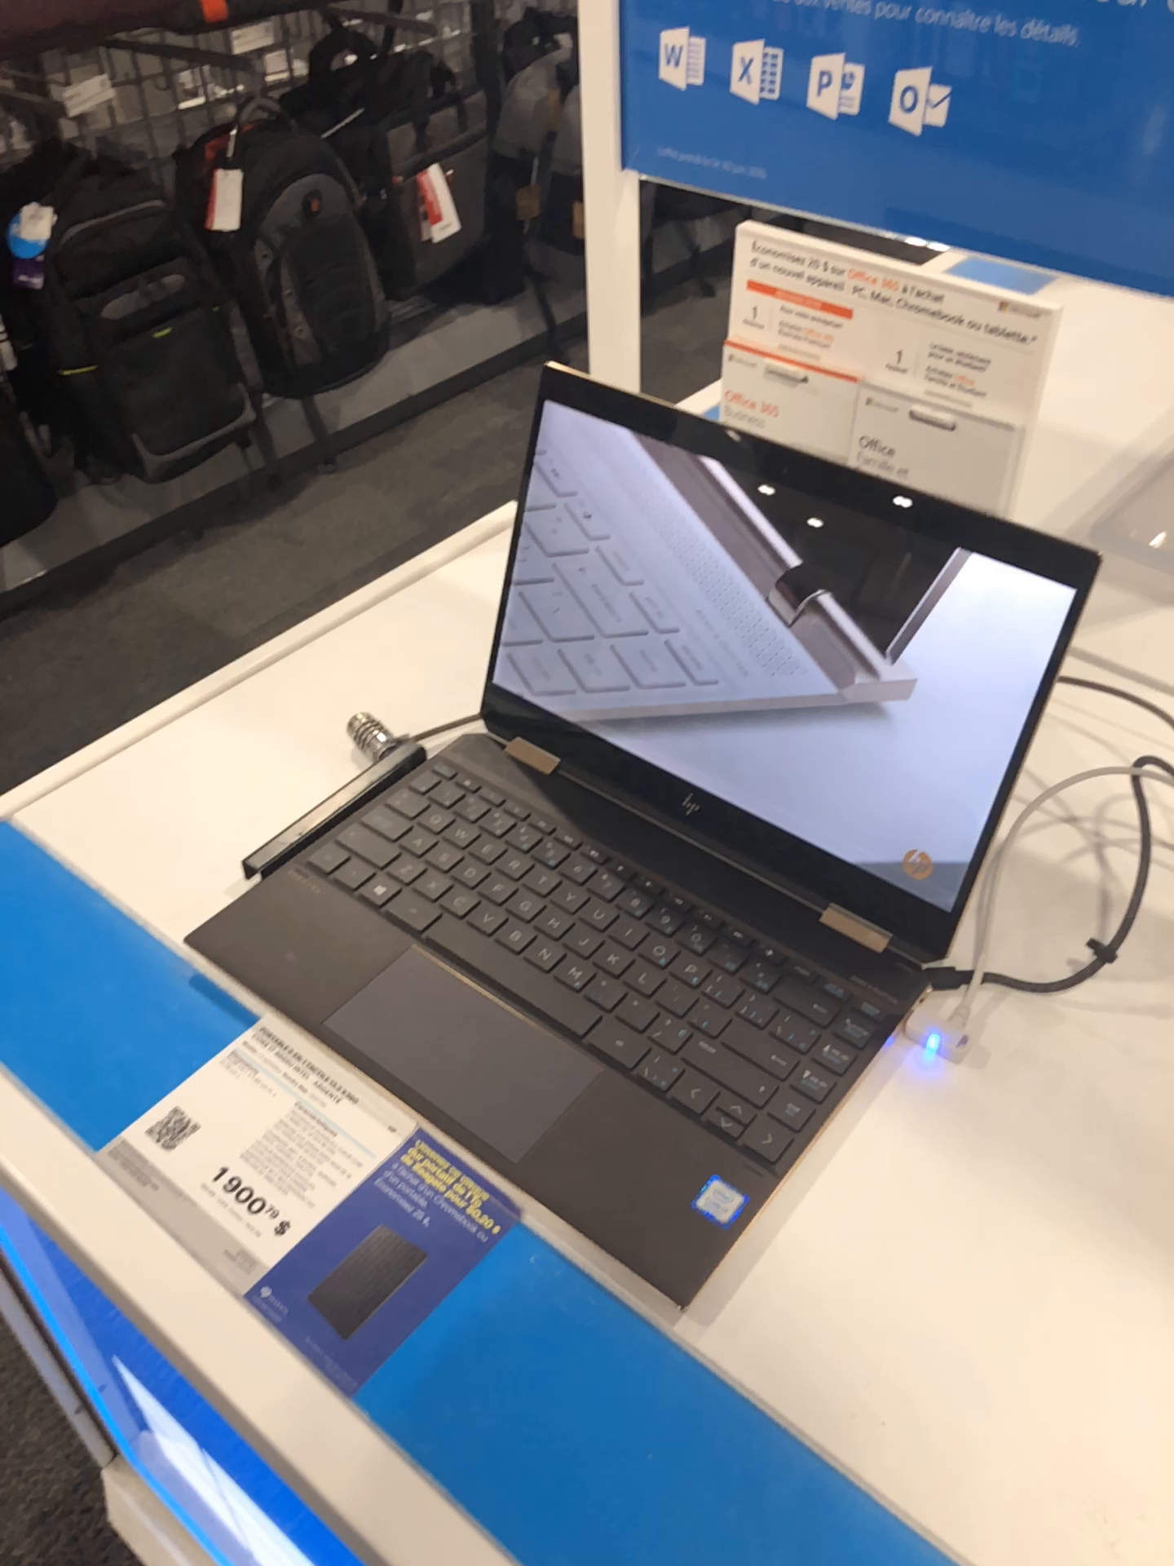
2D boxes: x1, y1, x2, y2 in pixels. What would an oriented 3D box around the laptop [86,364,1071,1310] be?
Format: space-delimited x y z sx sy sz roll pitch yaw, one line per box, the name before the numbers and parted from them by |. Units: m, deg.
laptop | 0.005 -0.009 0.594 0.298 0.197 0.285 28 48 28
